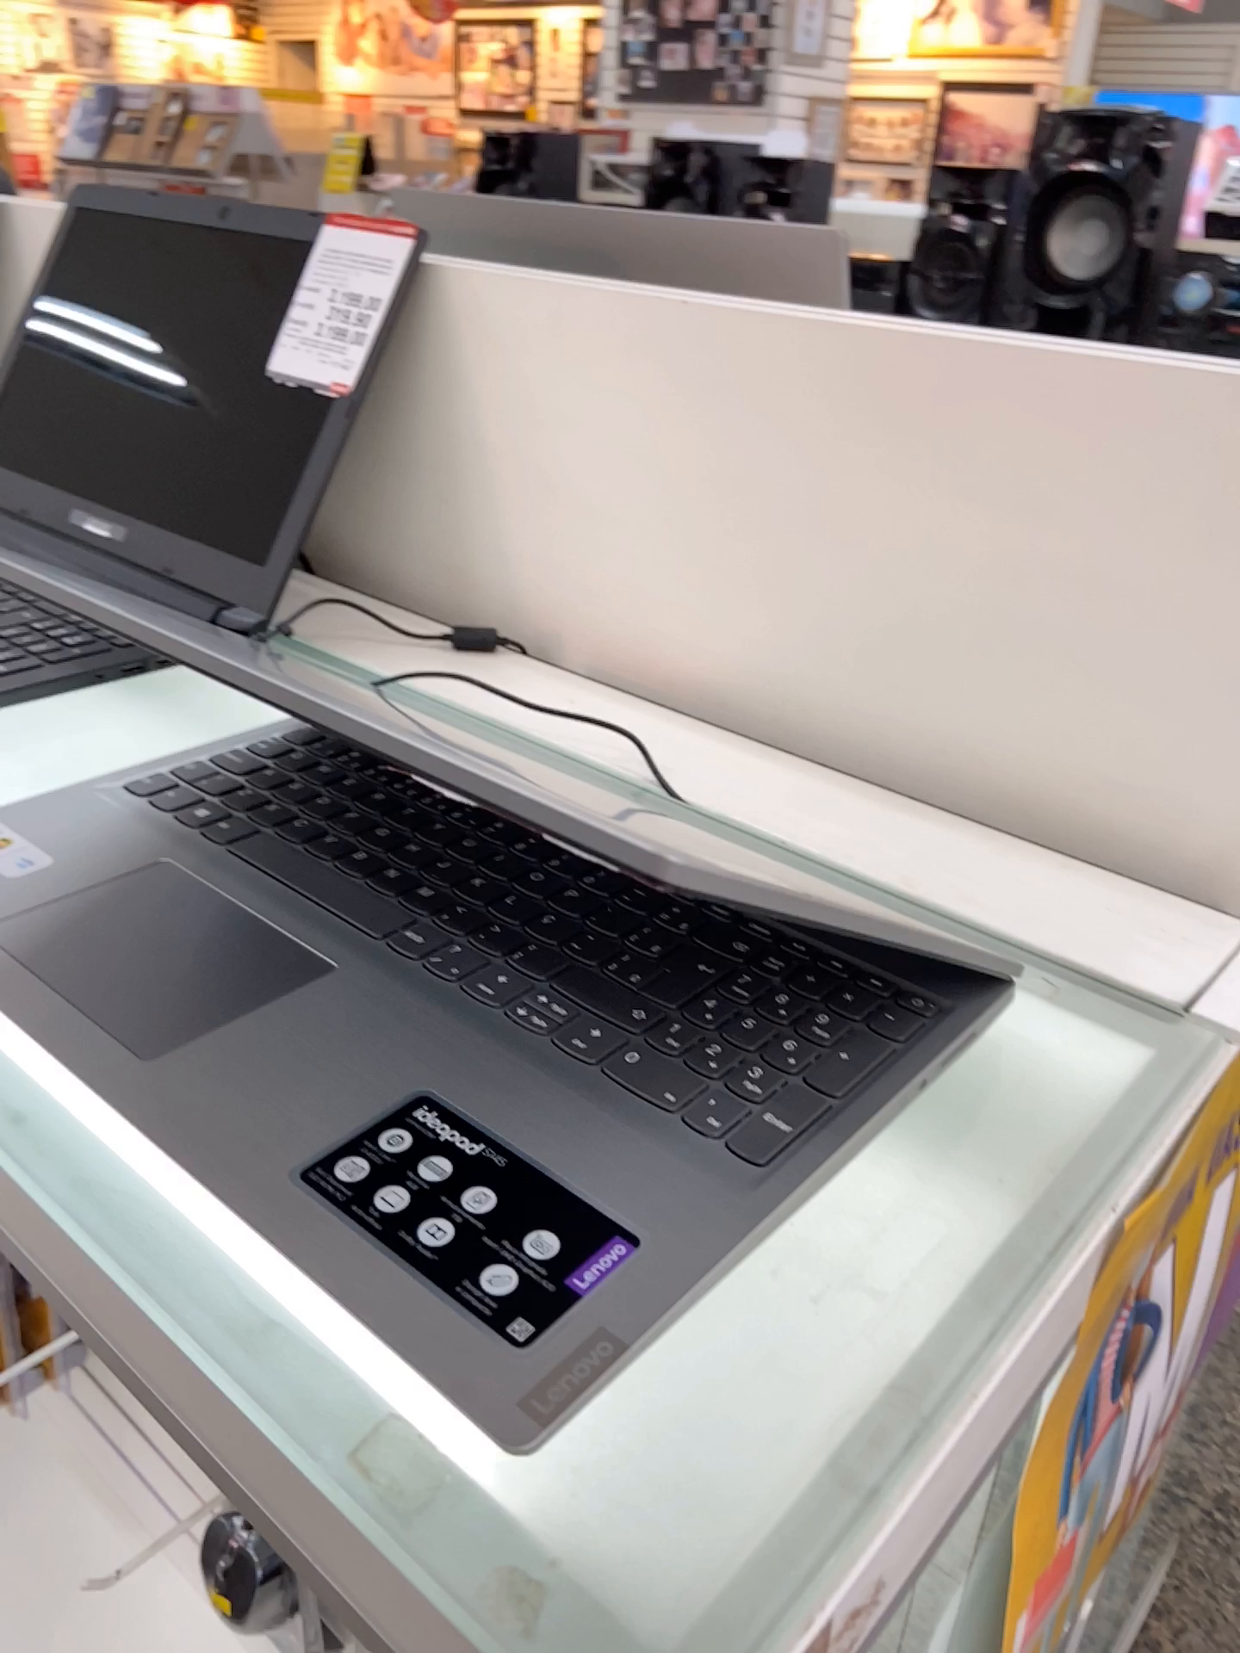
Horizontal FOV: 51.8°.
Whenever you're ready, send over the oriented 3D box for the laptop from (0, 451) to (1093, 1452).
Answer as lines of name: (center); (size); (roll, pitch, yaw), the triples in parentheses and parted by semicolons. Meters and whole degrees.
laptop: (-0.075, -0.021, 0.422); (0.355, 0.122, 0.240); (23, 33, 35)
